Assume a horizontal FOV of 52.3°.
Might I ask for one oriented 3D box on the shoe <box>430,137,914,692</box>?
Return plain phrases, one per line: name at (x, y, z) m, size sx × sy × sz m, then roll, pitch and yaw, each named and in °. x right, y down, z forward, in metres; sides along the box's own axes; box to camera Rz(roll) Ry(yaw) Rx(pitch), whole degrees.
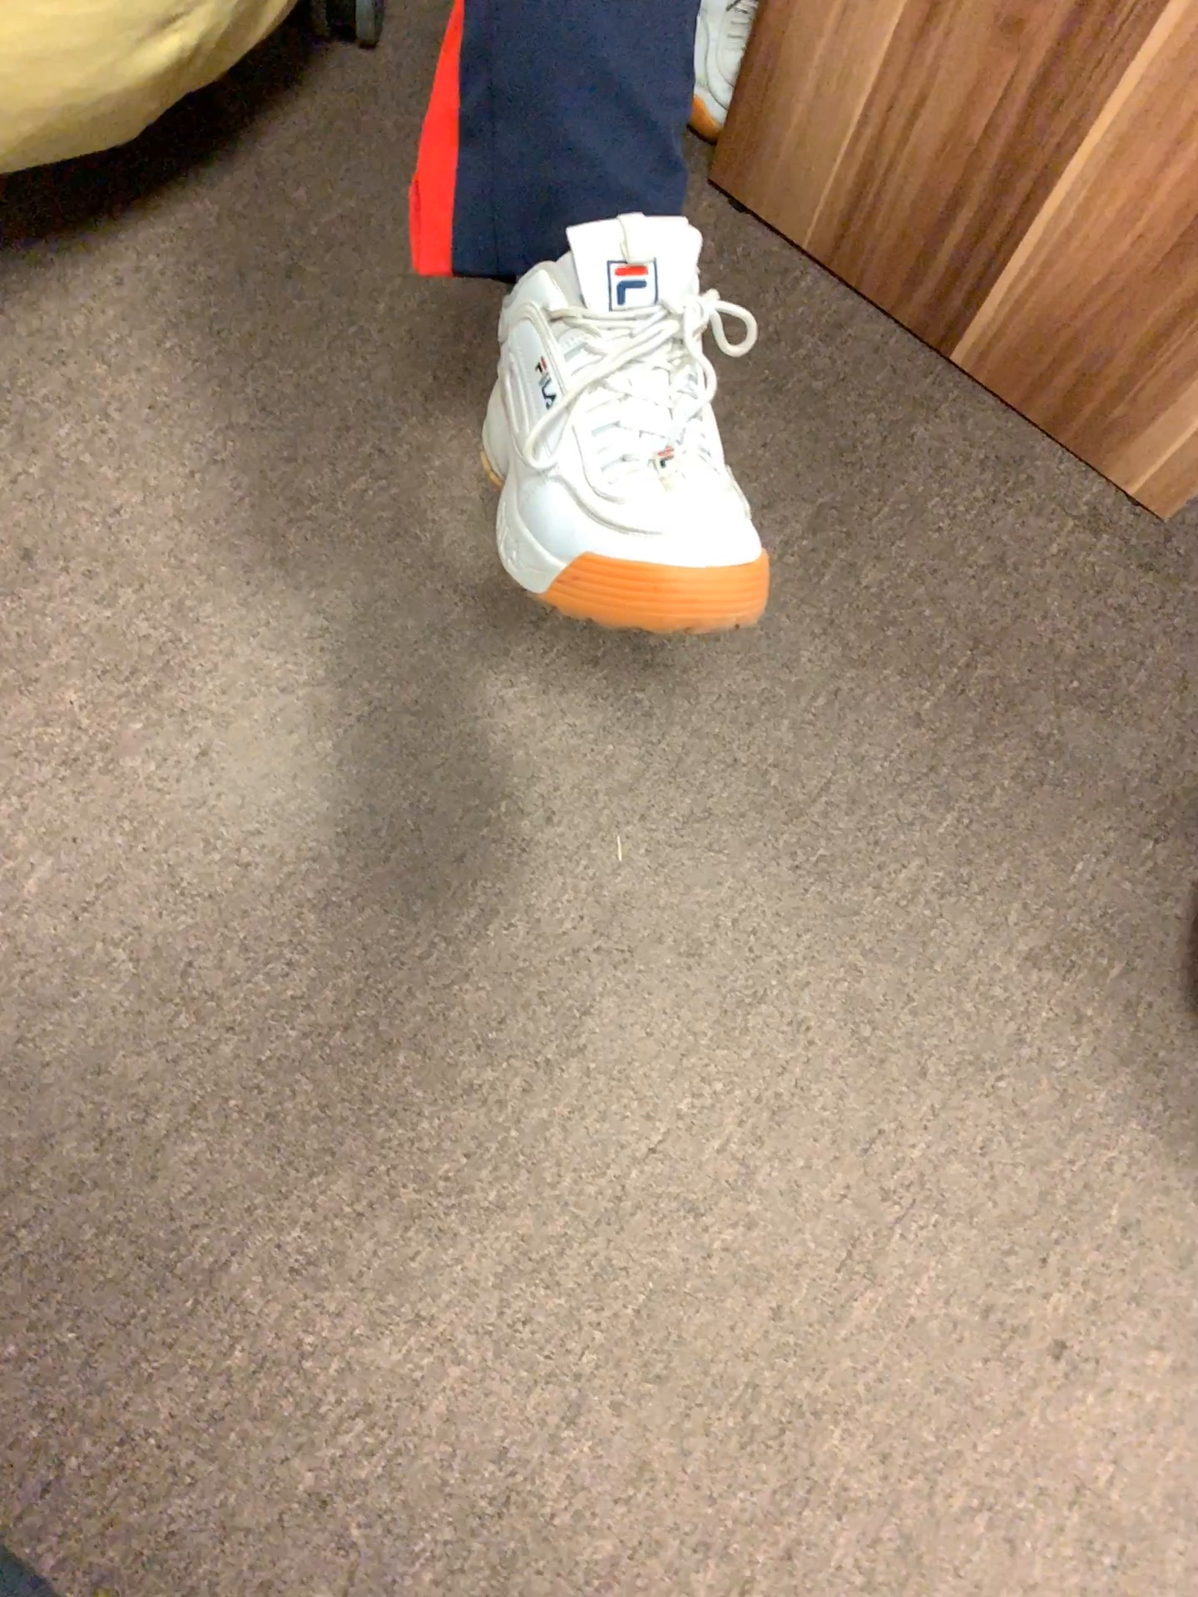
shoe at (0.013, -0.176, 0.550) m, size 0.130 × 0.130 × 0.230 m, roll -4°, pitch 49°, yaw -18°
